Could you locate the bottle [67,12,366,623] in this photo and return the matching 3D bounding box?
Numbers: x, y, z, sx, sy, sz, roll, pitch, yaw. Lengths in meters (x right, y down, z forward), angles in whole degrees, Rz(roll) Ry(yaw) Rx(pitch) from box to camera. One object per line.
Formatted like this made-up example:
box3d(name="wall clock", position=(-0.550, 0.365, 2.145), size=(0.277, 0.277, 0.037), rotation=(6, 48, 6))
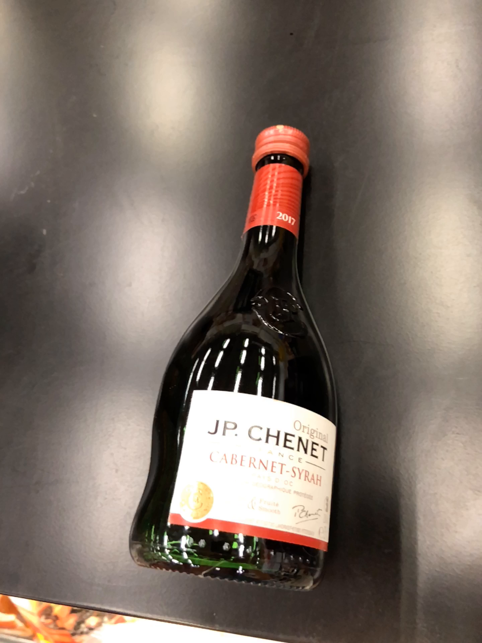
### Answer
box3d(name="bottle", position=(0.005, -0.010, 0.201), size=(0.070, 0.060, 0.200), rotation=(0, 68, 18))
